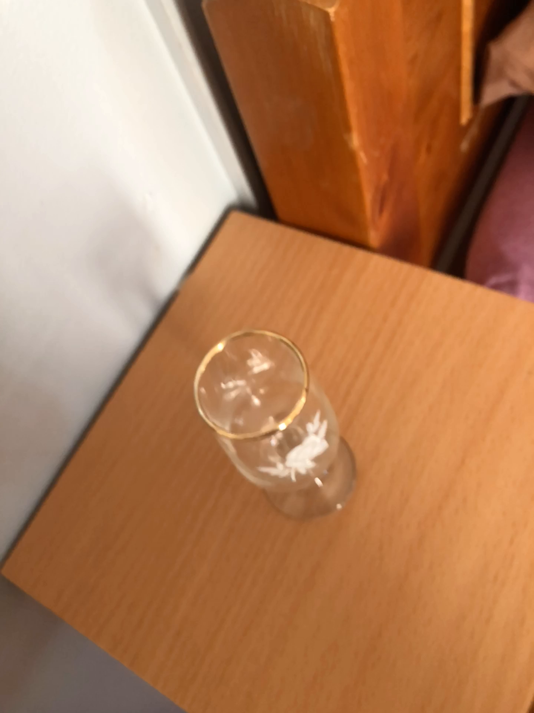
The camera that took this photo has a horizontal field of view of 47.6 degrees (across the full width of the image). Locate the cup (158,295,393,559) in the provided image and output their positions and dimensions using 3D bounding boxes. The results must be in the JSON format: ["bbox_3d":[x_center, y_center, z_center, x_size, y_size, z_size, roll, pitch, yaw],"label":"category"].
[{"bbox_3d":[0.010,0.036,0.251,0.052,0.108,0.056,-6,62,12],"label":"cup"}]
